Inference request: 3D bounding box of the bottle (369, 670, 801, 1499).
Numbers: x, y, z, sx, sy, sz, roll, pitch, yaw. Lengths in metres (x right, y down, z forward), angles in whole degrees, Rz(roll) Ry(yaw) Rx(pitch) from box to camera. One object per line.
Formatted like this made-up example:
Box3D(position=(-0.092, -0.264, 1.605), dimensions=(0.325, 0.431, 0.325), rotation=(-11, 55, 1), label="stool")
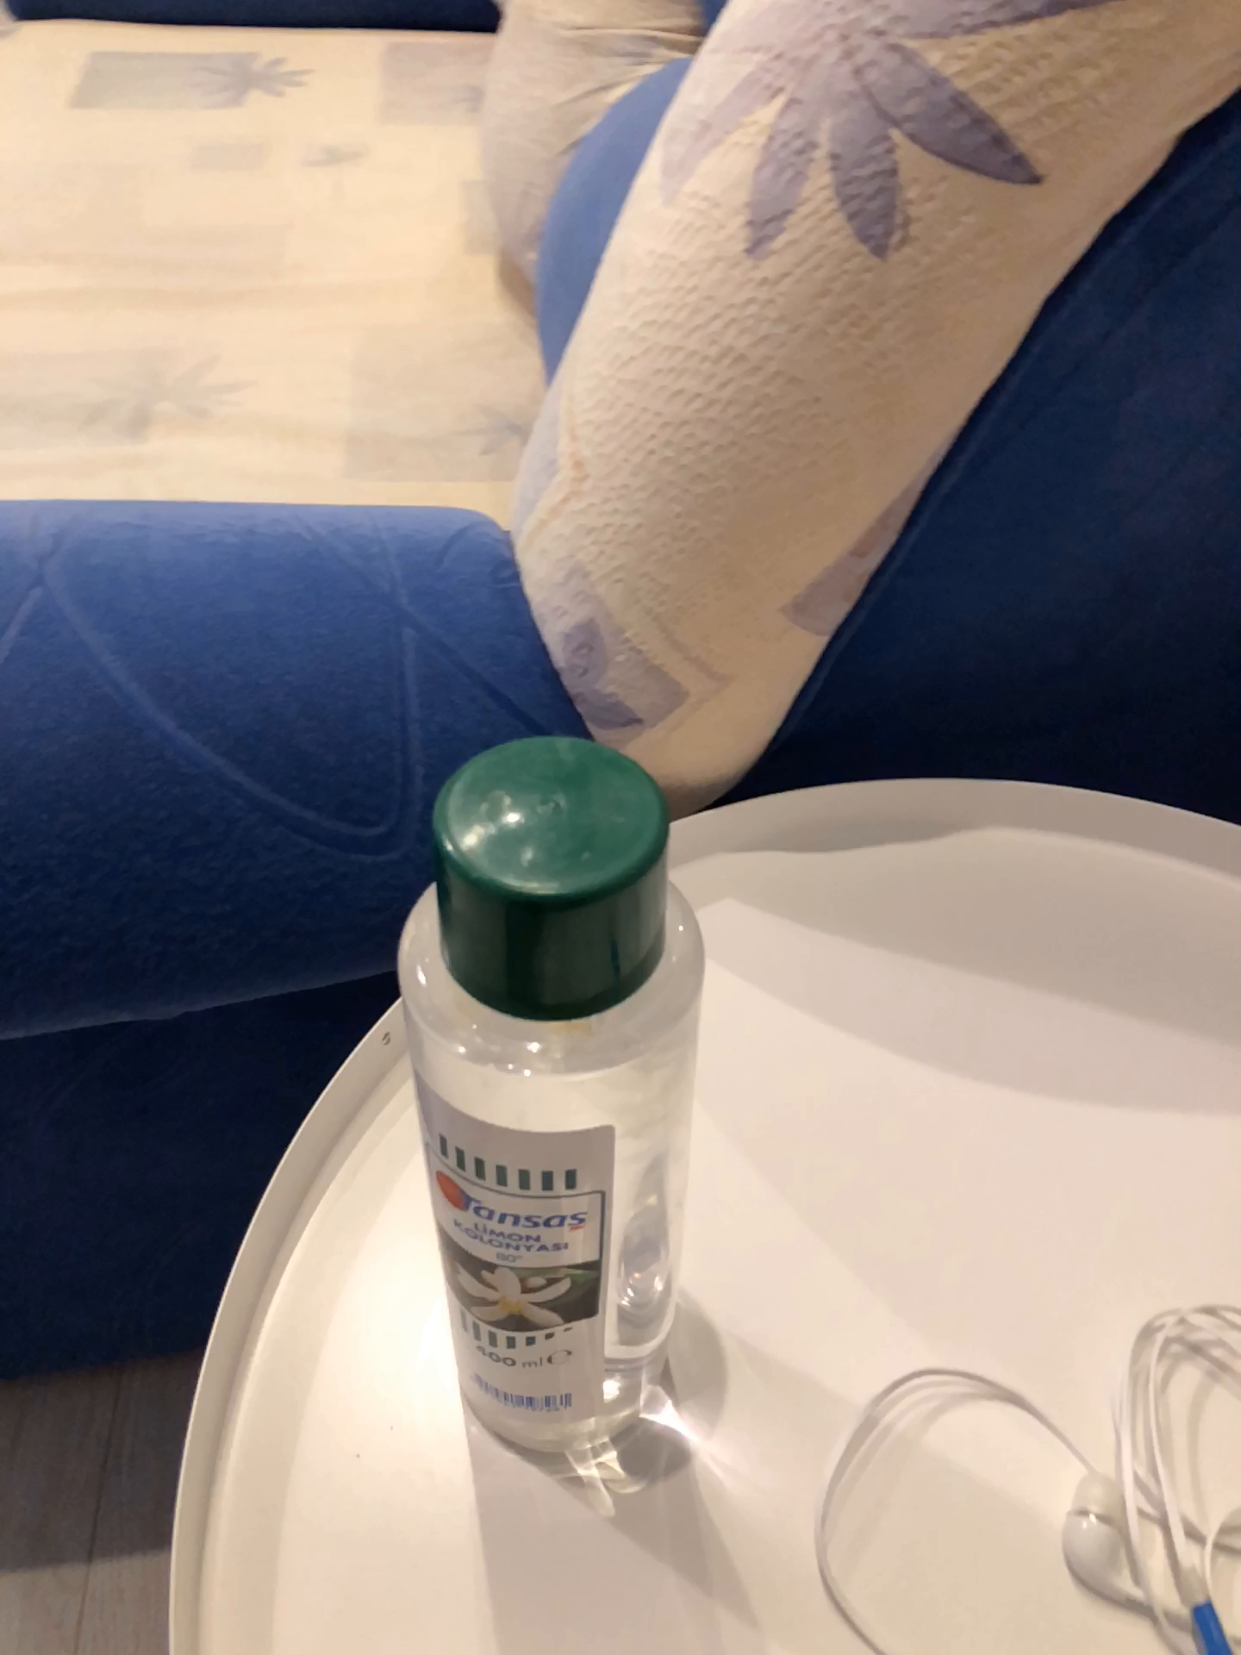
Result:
Box3D(position=(-0.007, 0.068, 0.292), dimensions=(0.051, 0.199, 0.060), rotation=(17, 47, 14), label="bottle")
